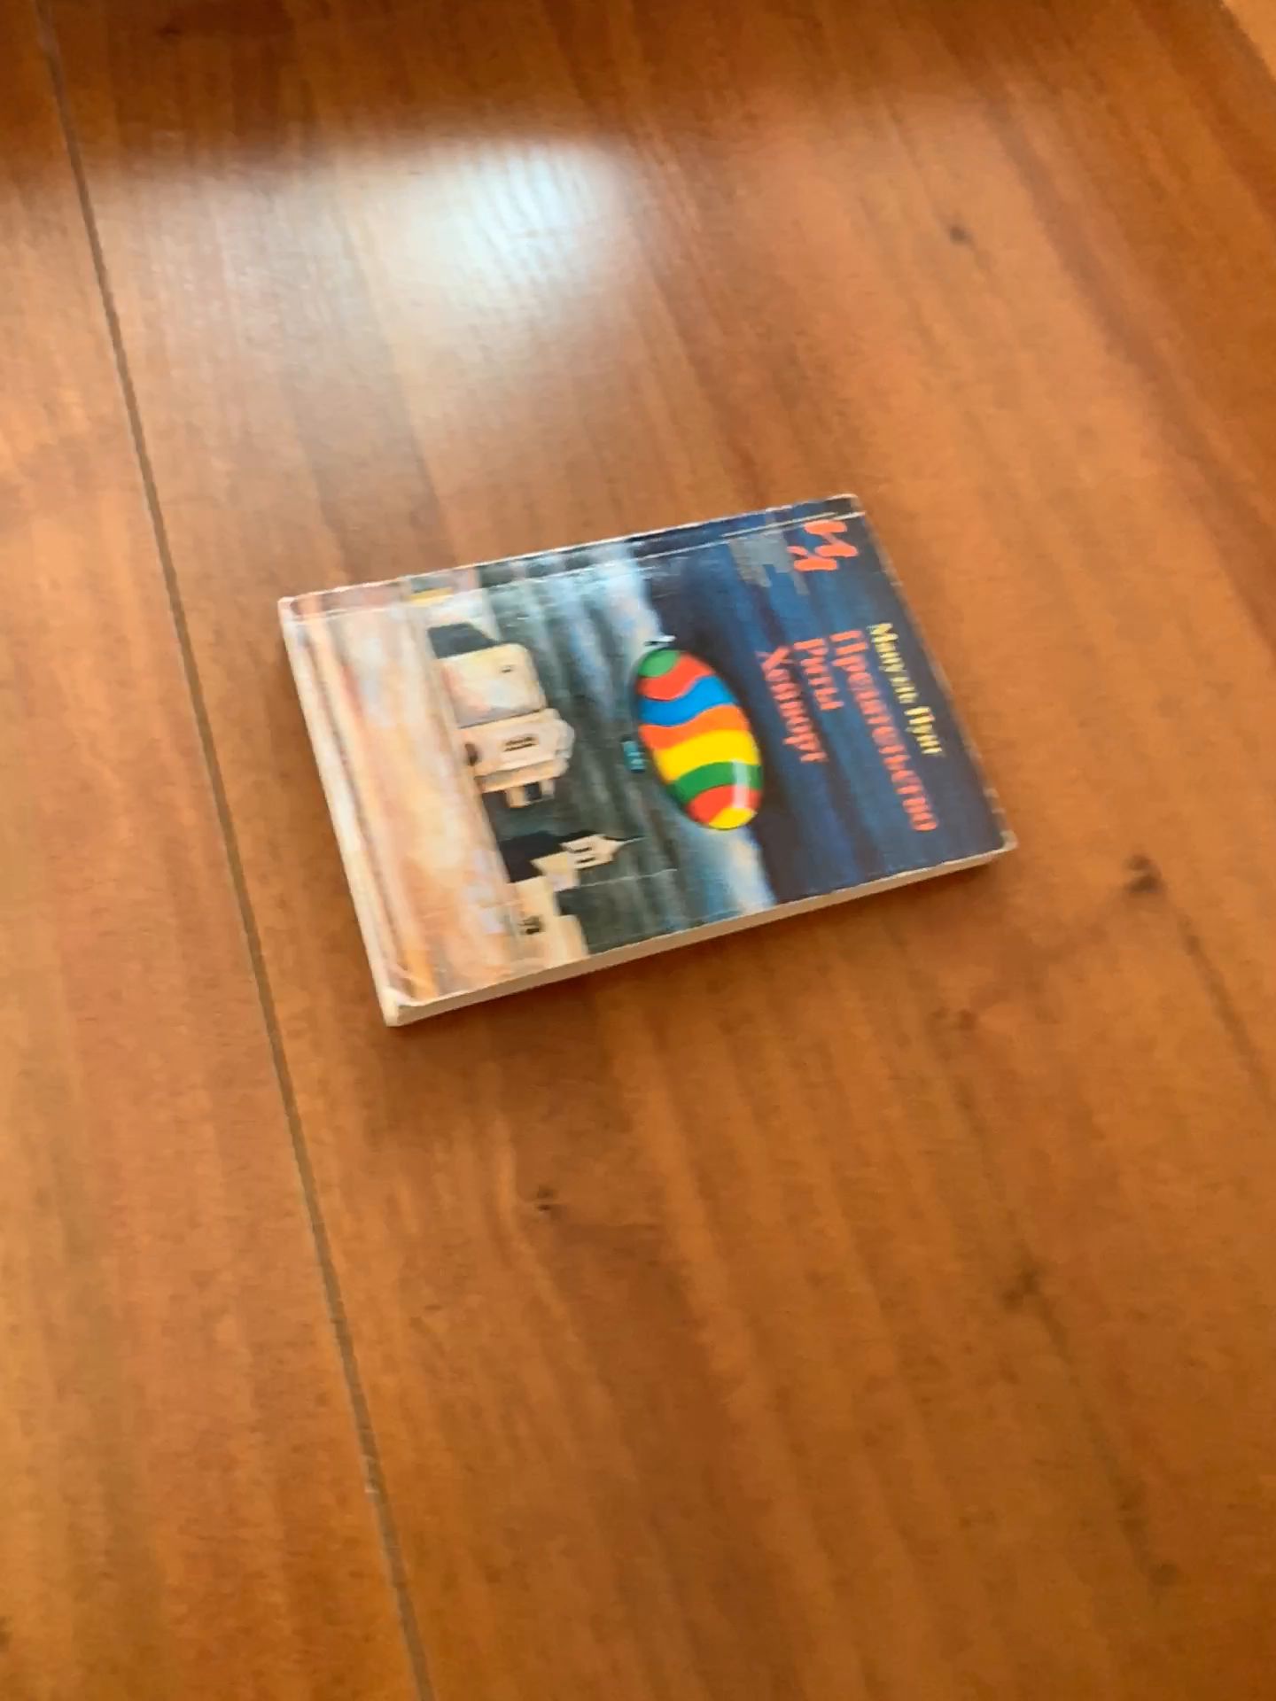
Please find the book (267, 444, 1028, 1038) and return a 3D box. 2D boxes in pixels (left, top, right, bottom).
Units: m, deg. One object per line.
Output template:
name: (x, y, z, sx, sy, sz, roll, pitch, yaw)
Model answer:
book: (0.001, -0.034, 0.328, 0.157, 0.016, 0.121, -15, 72, -15)
